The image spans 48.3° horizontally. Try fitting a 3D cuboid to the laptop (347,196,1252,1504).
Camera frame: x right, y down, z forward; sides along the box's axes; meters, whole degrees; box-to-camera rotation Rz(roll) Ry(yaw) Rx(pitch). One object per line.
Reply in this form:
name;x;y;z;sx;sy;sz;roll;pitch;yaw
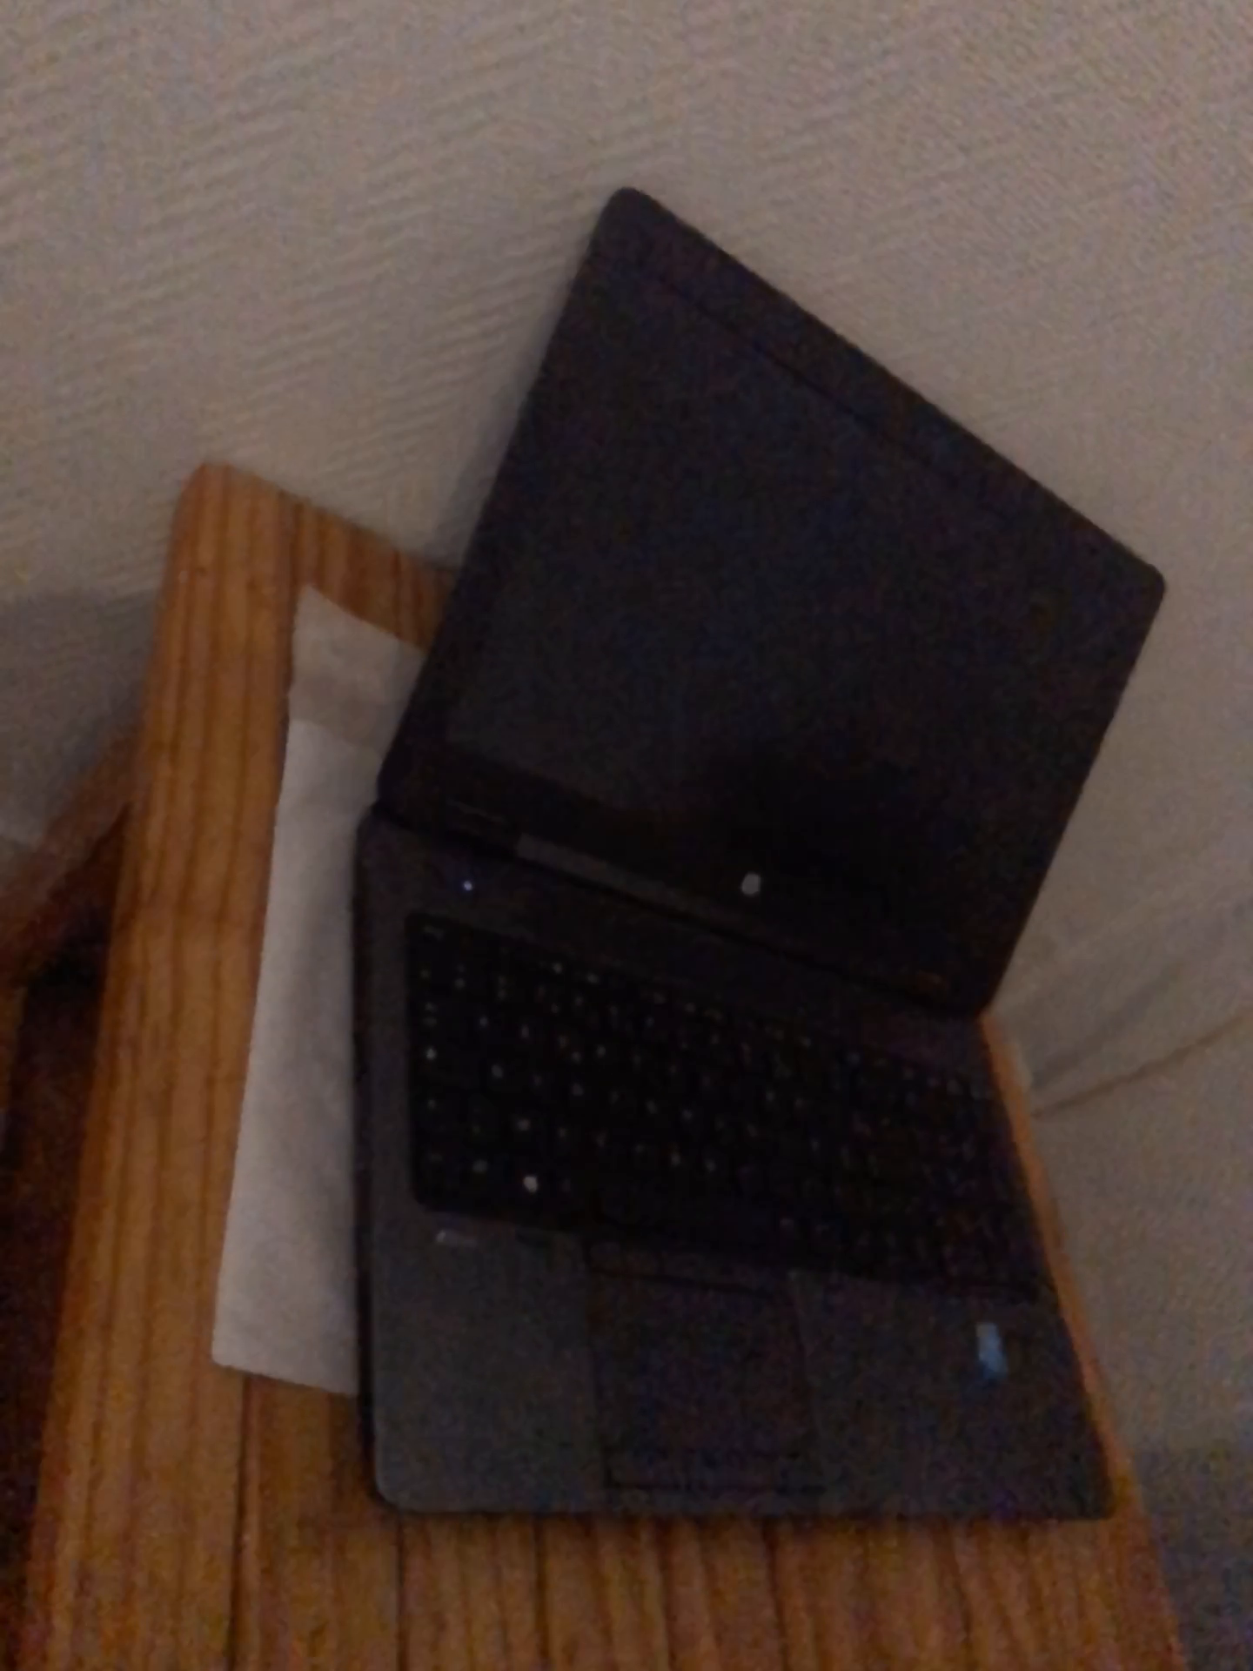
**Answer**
laptop;0.106;0.030;0.578;0.384;0.195;0.410;21;46;-36
